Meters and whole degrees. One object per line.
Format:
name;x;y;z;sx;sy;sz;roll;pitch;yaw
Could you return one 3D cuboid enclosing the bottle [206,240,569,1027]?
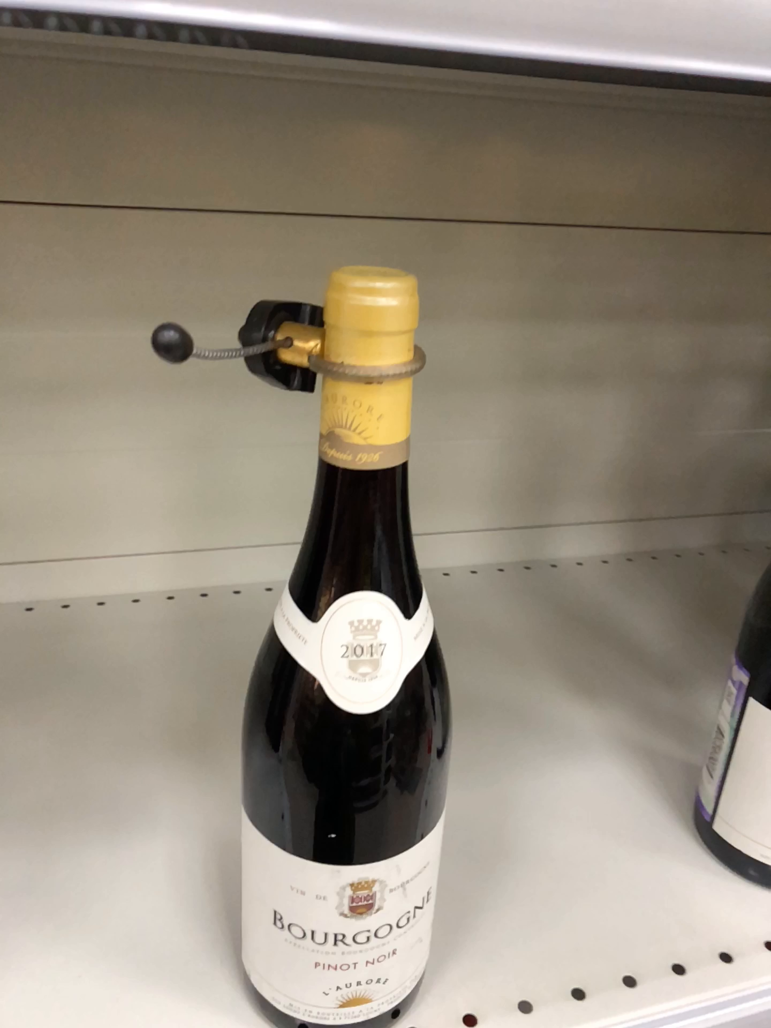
bottle;-0.014;0.058;0.309;0.090;0.289;0.090;3;23;-1
